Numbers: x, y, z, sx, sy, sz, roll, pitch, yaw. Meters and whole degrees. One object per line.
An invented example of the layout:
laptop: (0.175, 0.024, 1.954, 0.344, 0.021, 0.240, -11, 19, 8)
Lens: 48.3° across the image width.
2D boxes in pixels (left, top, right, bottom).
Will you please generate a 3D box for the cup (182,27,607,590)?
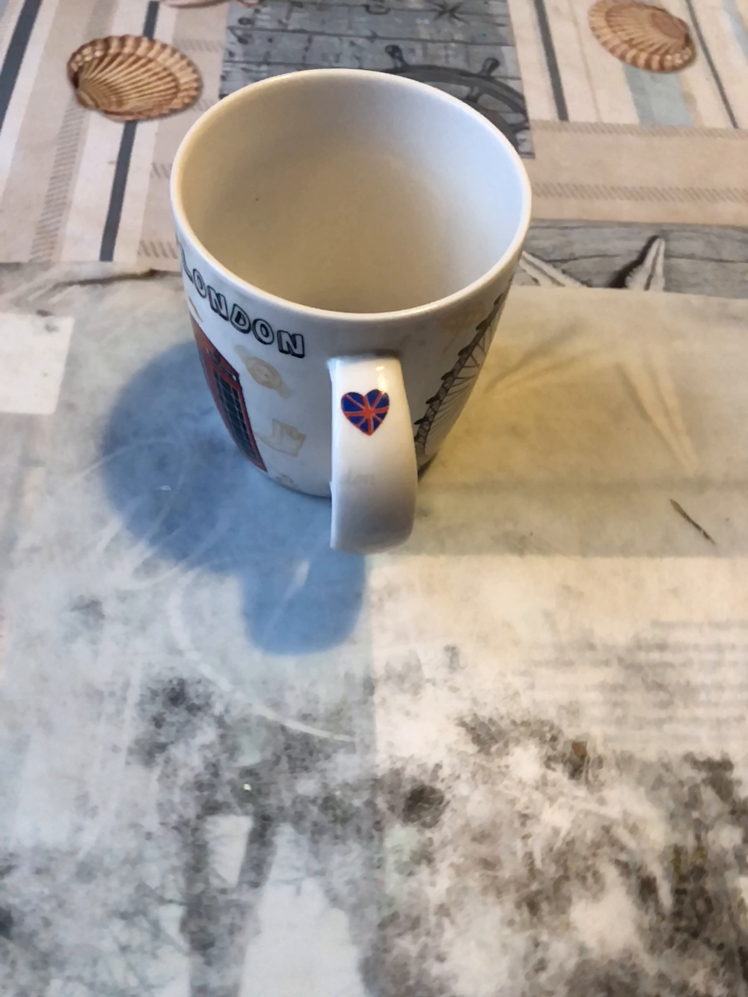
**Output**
cup: (-0.002, -0.051, 0.231, 0.084, 0.086, 0.121, -5, 60, -4)
